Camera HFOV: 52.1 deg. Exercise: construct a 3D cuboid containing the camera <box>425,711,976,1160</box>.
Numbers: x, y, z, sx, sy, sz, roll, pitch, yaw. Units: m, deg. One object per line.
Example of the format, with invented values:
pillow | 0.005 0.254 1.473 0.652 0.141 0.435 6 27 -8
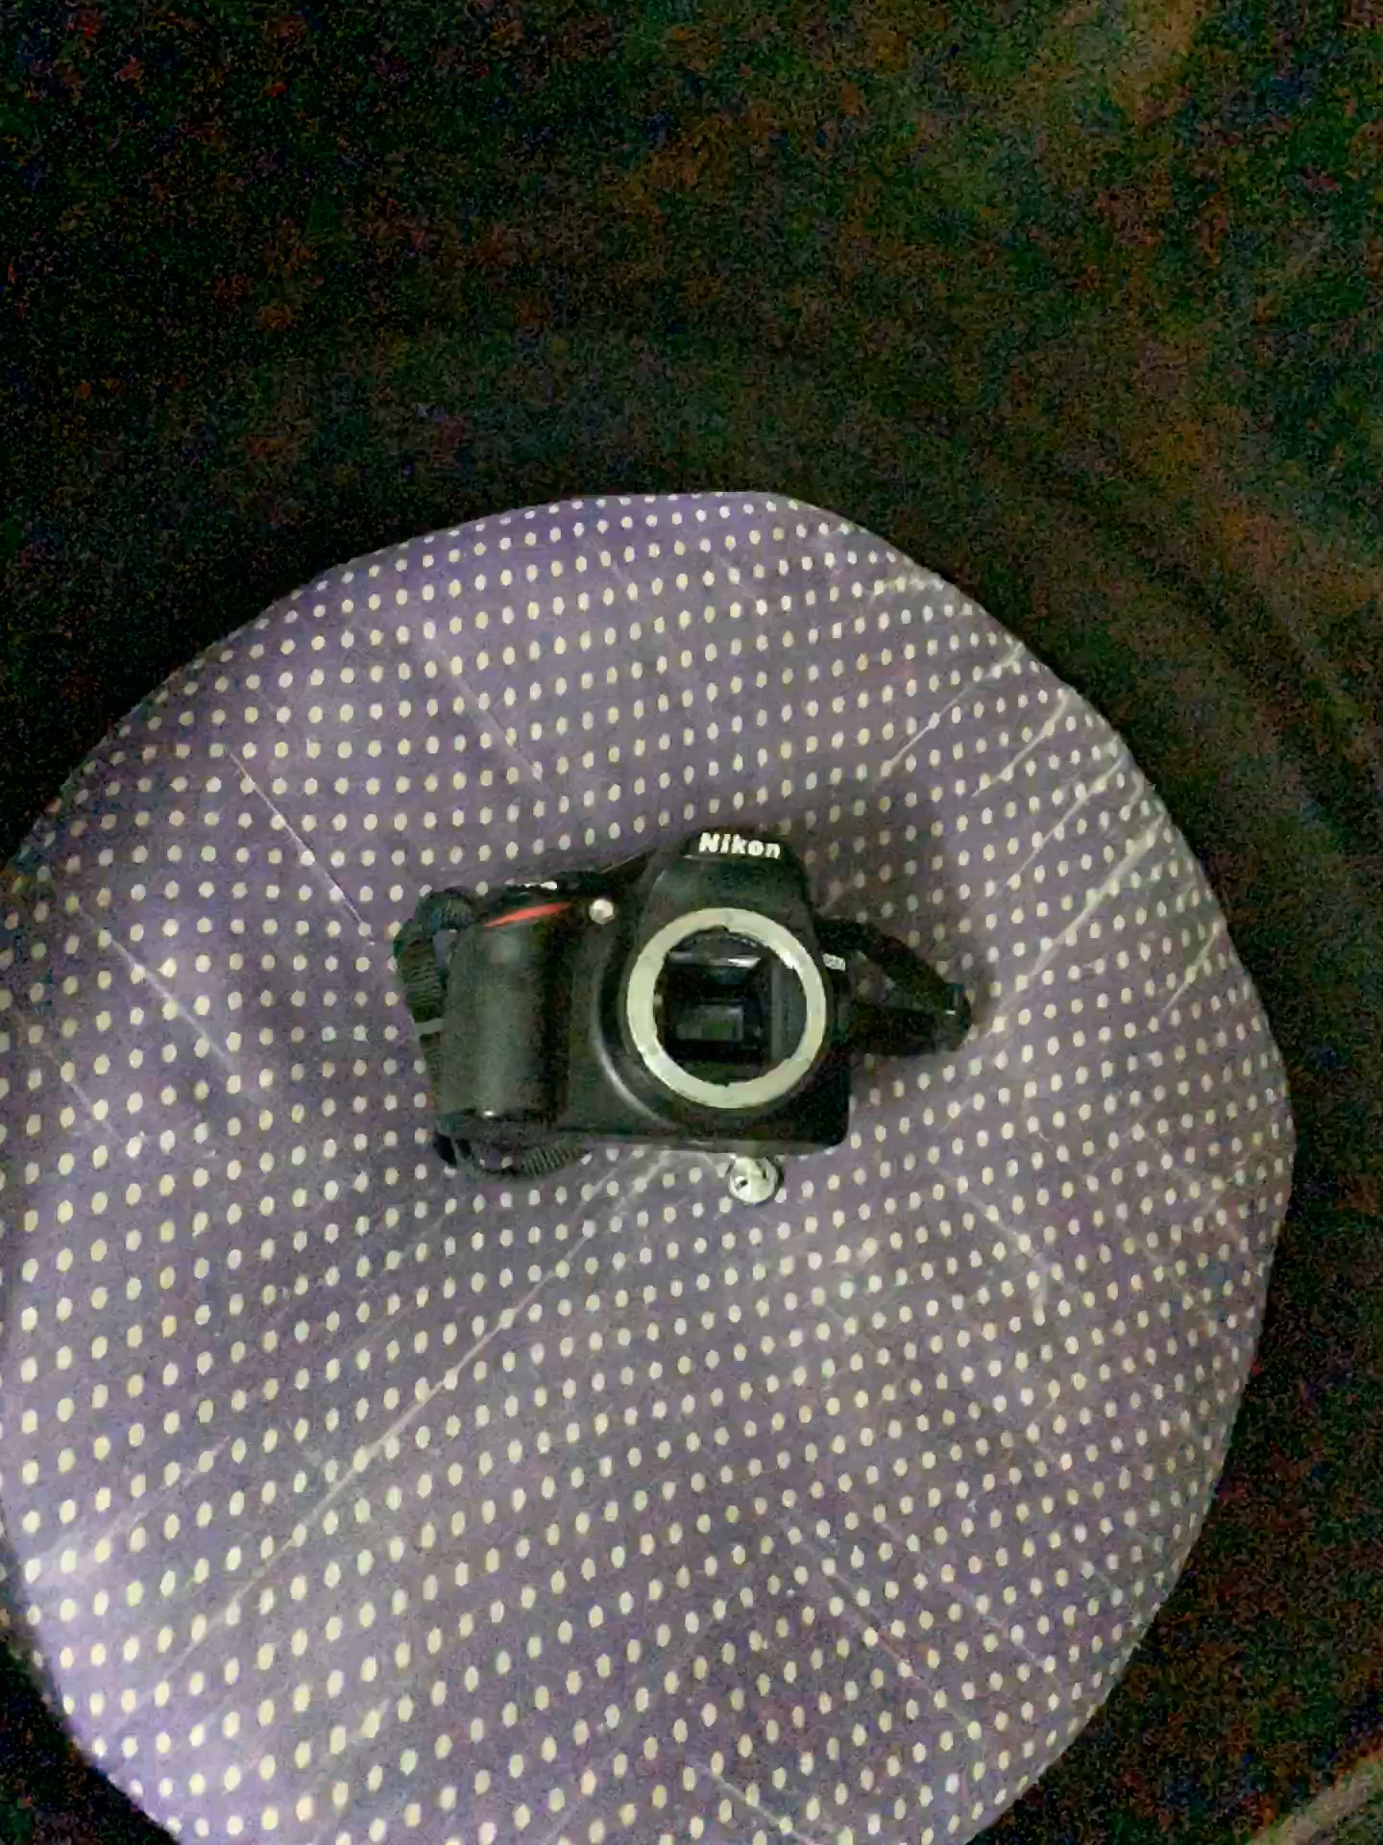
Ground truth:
camera | -0.002 0.011 0.409 0.140 0.080 0.110 3 77 -13
